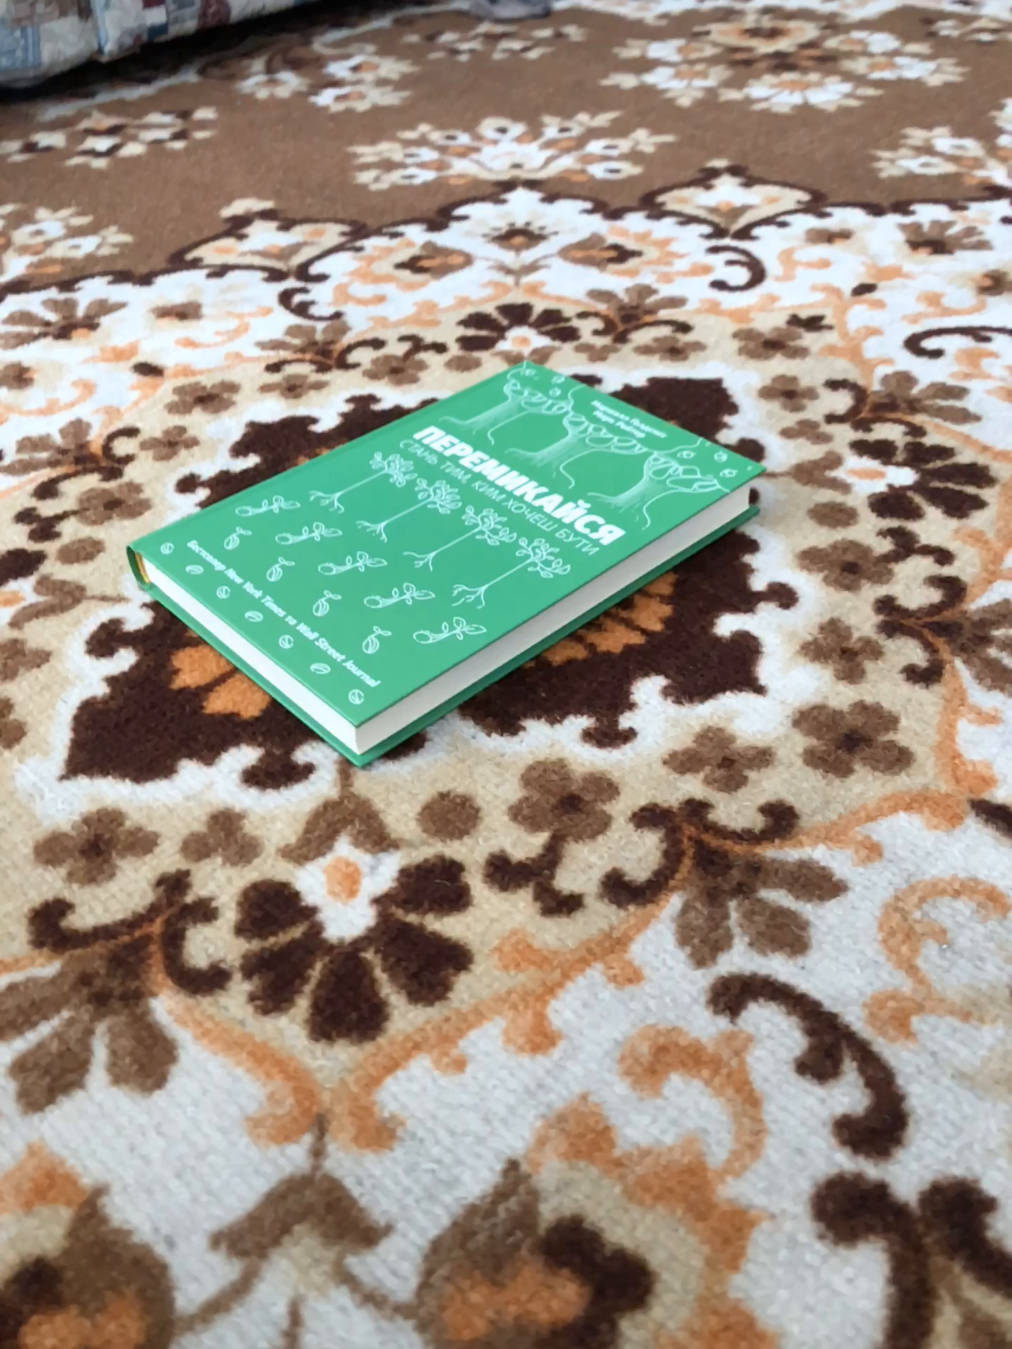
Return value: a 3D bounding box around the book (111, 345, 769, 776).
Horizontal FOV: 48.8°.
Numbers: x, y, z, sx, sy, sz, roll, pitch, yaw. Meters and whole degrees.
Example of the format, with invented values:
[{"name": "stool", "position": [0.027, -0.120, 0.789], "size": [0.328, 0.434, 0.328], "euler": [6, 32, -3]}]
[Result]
[{"name": "book", "position": [-0.020, -0.058, 0.418], "size": [0.203, 0.023, 0.138], "euler": [-33, 50, -30]}]
